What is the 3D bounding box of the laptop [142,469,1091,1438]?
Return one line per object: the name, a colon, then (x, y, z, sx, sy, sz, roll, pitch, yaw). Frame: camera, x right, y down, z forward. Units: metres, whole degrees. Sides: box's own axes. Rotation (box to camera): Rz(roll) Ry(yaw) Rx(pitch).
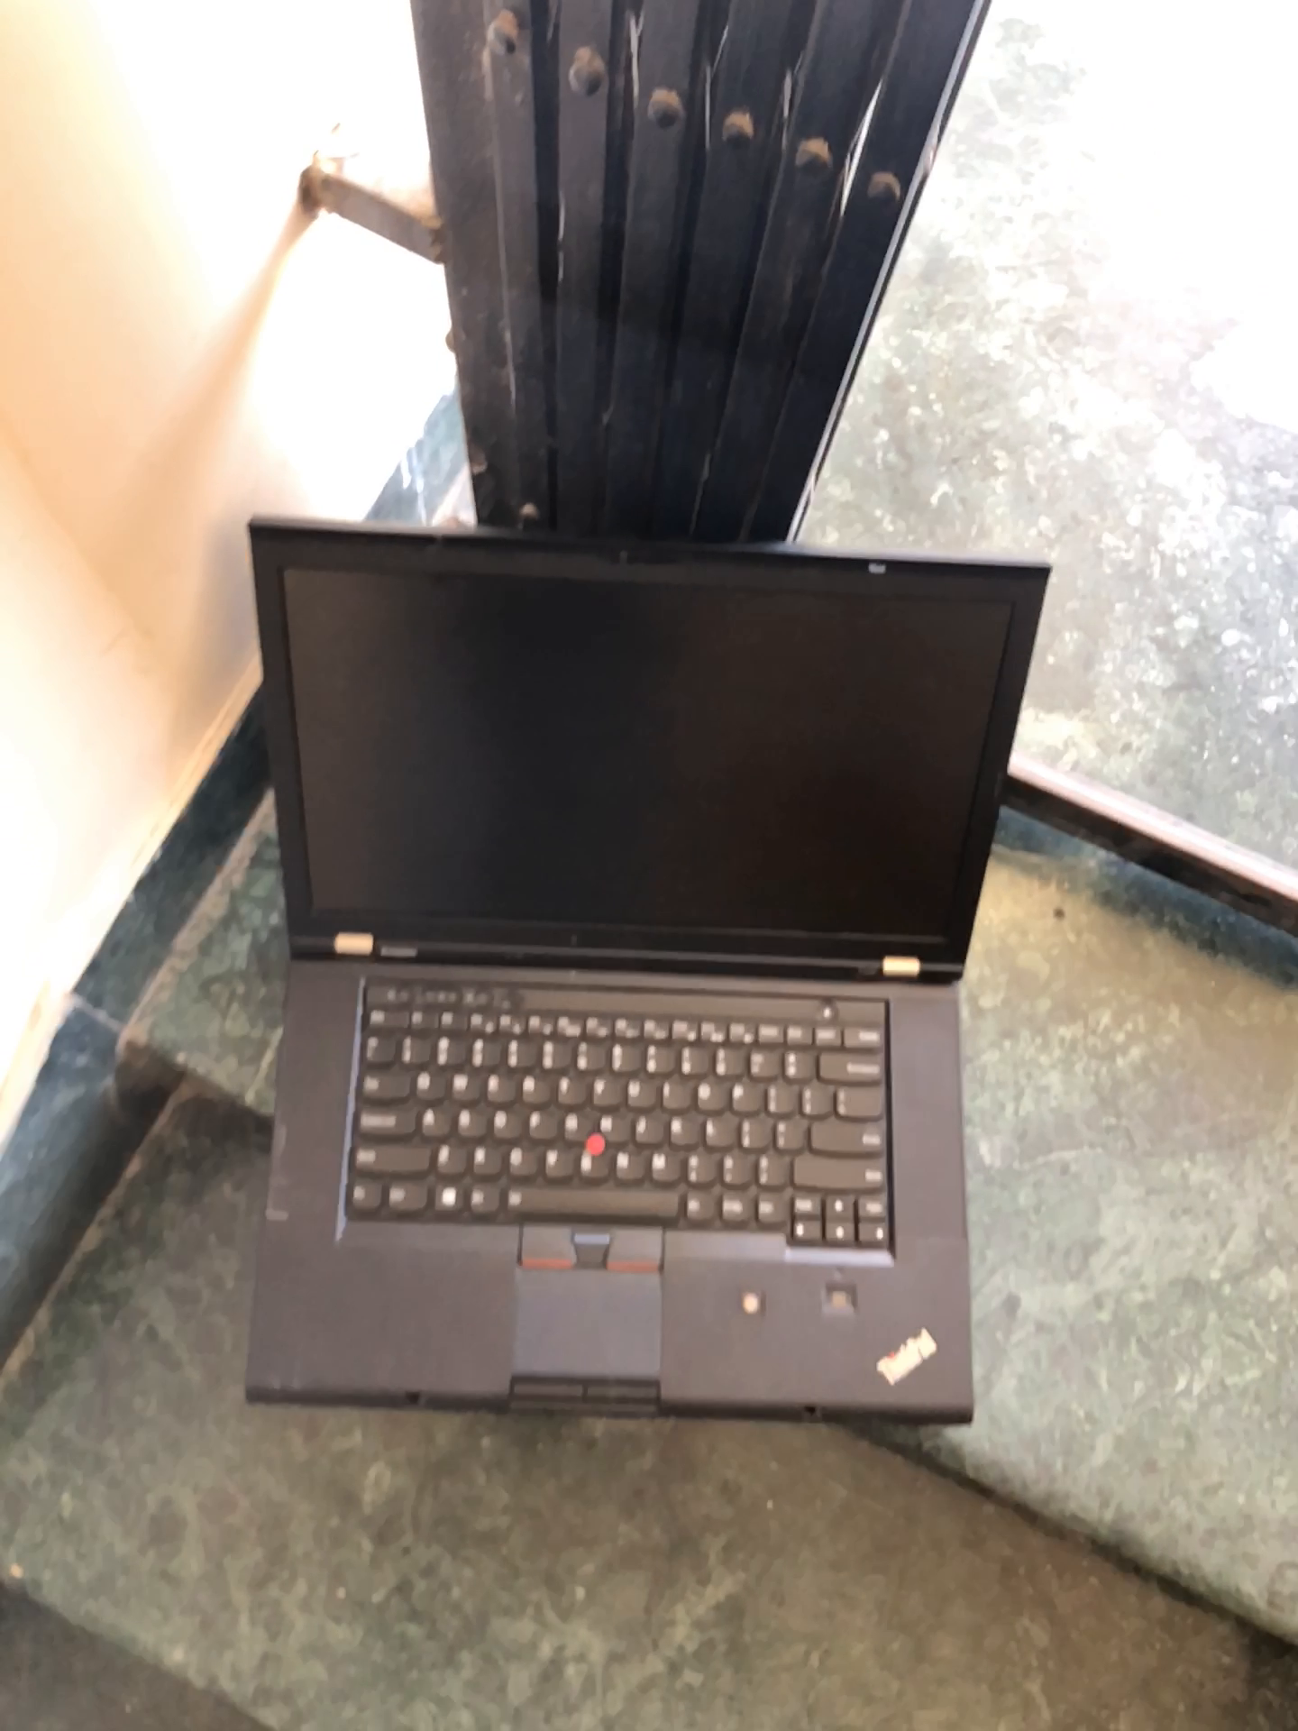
laptop: (-0.008, 0.054, 0.673, 0.359, 0.182, 0.388, 2, 75, -2)
